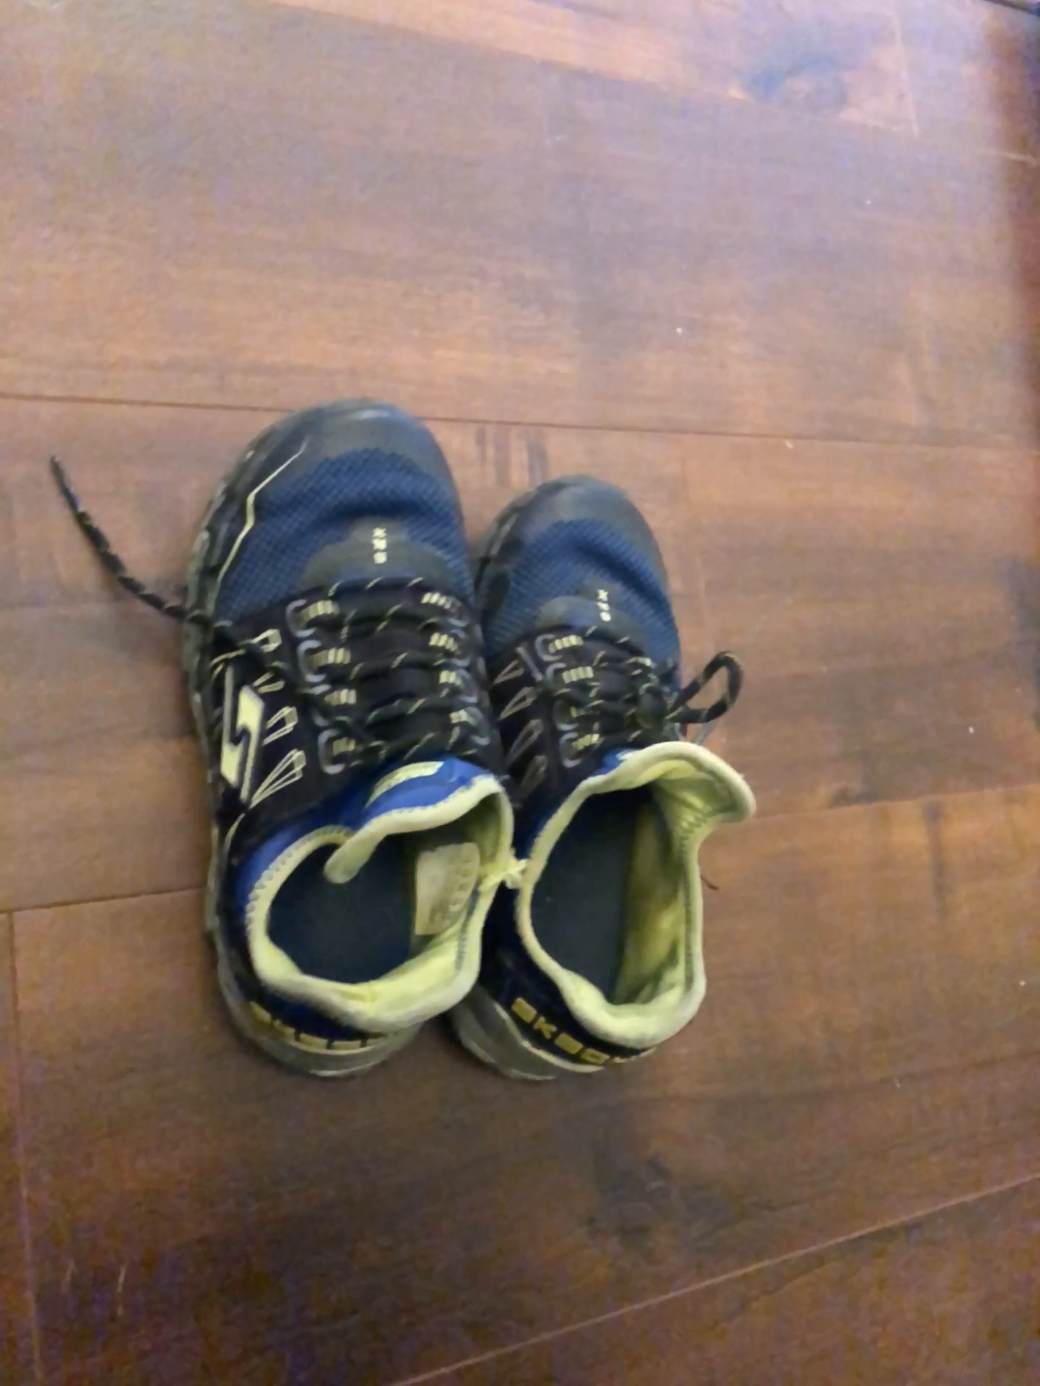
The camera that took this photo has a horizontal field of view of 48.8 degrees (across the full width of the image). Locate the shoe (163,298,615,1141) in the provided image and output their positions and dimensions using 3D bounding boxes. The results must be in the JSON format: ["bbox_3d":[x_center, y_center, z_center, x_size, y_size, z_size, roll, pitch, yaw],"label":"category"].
[{"bbox_3d":[-0.051,0.011,0.356,0.100,0.120,0.210,1,79,-24],"label":"shoe"}]

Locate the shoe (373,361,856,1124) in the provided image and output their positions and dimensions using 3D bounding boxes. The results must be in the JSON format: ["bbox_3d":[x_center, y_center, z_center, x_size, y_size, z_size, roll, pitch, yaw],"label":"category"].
[{"bbox_3d":[0.030,0.023,0.388,0.100,0.120,0.210,12,75,-22],"label":"shoe"}]
